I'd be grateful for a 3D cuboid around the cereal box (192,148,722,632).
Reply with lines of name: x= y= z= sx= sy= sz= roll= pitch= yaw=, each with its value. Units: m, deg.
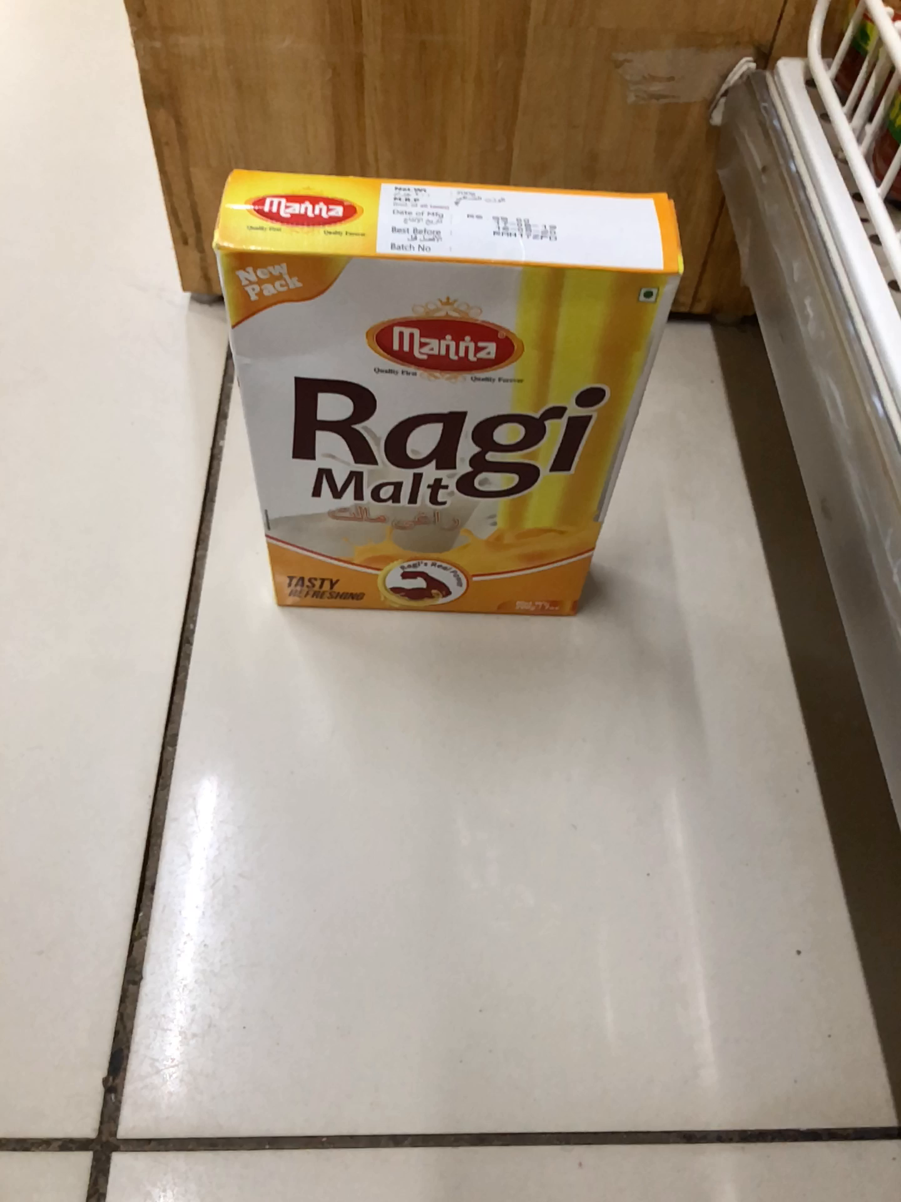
cereal box: x=0.000 y=-0.059 z=0.349 sx=0.140 sy=0.179 sz=0.040 roll=2 pitch=54 yaw=0
